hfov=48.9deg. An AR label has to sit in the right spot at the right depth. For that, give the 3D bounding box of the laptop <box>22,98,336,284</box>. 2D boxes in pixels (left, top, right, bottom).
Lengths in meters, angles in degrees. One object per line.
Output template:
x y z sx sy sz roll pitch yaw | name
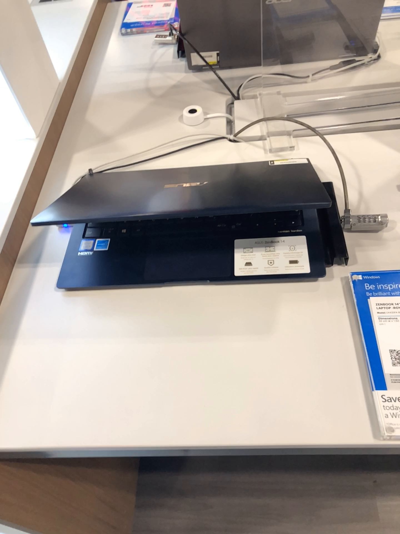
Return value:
-0.016 -0.093 0.529 0.310 0.095 0.203 -2 51 7 | laptop
